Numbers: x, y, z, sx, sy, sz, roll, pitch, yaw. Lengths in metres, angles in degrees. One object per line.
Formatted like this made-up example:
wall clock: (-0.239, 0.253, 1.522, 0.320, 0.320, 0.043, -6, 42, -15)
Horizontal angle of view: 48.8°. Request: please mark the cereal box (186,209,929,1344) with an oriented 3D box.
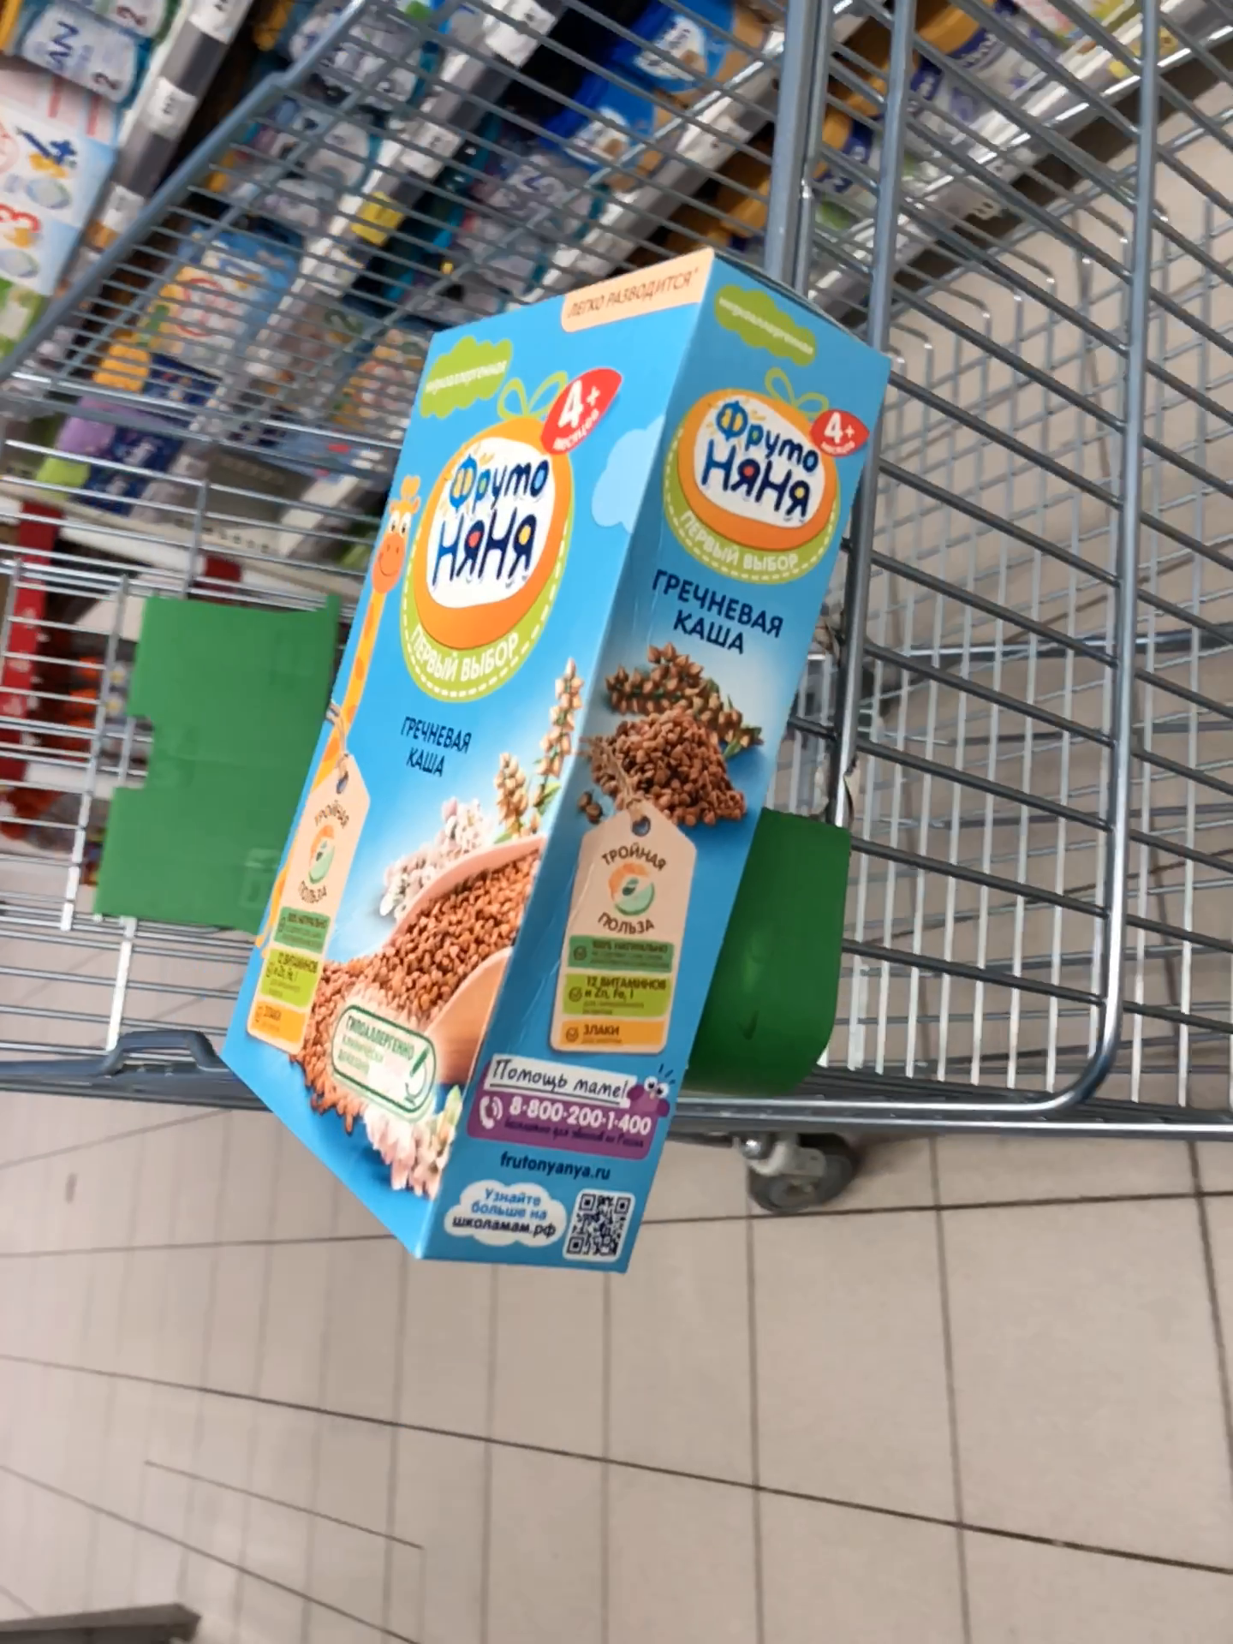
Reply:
cereal box: (-0.028, -0.015, 0.320, 0.151, 0.050, 0.210, 17, 91, 57)
